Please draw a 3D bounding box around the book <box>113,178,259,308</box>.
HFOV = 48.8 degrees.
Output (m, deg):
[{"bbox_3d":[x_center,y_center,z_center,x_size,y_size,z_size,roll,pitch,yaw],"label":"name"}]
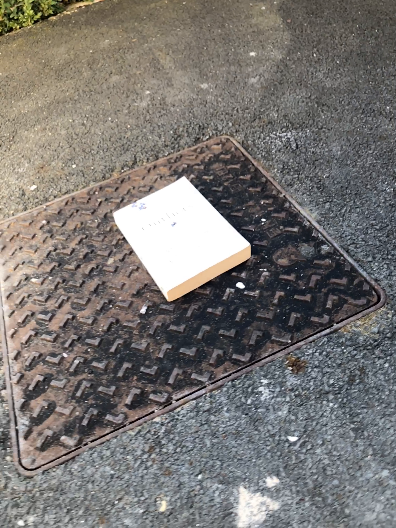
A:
[{"bbox_3d":[-0.025,-0.043,0.670,0.140,0.030,0.210,-28,48,-13],"label":"book"}]
